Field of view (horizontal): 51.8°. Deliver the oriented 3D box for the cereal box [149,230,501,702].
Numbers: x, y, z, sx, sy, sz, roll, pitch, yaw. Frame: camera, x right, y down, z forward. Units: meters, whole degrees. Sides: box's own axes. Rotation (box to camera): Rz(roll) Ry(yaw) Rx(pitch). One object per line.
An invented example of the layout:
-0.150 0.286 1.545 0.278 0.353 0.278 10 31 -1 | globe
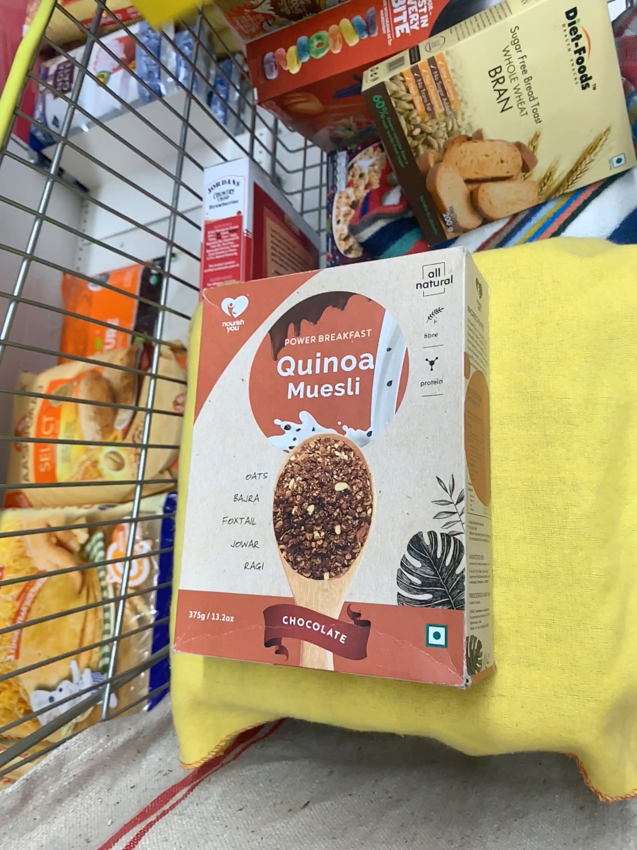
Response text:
0.005 0.021 0.354 0.171 0.060 0.210 -3 77 26 | cereal box
